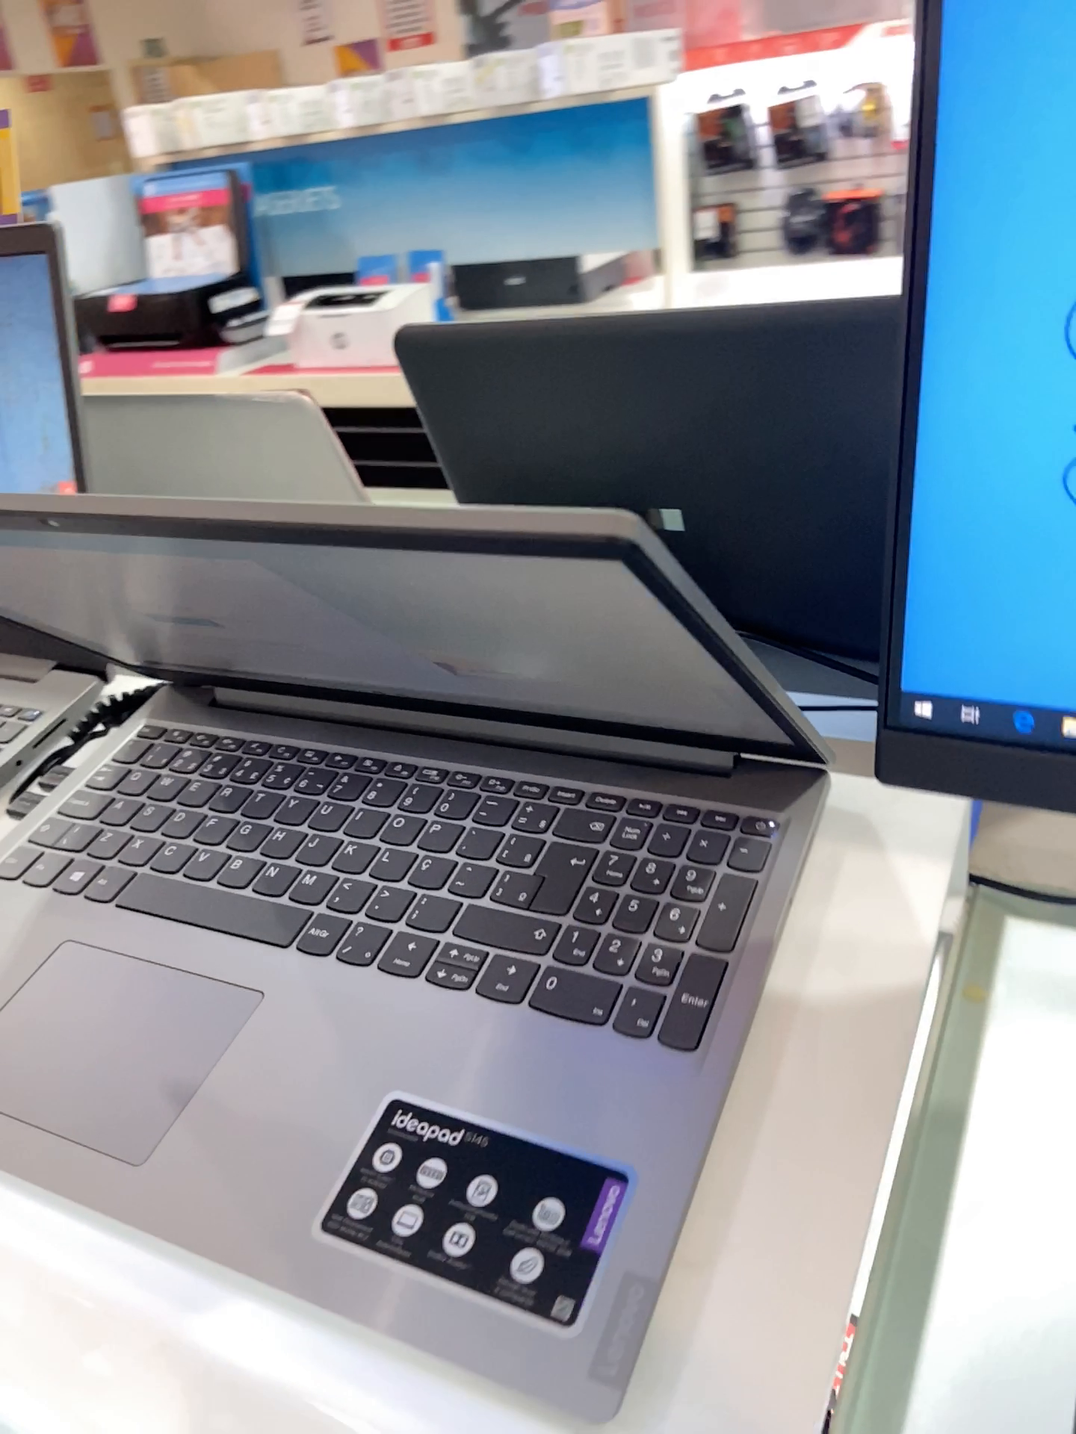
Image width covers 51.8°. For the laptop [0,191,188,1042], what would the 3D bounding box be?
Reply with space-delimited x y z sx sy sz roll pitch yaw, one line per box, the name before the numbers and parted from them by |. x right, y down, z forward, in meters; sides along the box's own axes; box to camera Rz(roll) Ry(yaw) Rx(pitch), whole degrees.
laptop | -0.454 -0.102 0.605 0.347 0.224 0.353 7 39 23

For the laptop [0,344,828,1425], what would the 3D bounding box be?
laptop | -0.105 0.010 0.398 0.359 0.163 0.242 6 39 26
